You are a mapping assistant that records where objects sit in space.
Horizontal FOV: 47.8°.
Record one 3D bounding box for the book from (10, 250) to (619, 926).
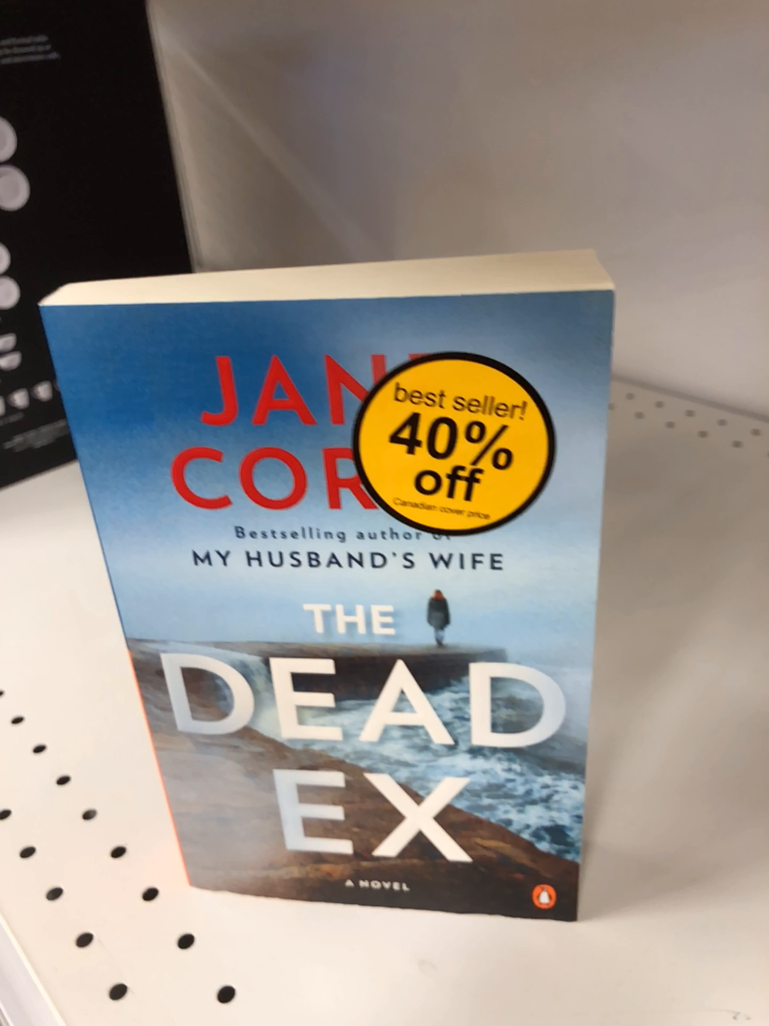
[{"bbox_3d":[-0.009,0.034,0.268,0.146,0.211,0.040,0,29,11],"label":"book"}]
